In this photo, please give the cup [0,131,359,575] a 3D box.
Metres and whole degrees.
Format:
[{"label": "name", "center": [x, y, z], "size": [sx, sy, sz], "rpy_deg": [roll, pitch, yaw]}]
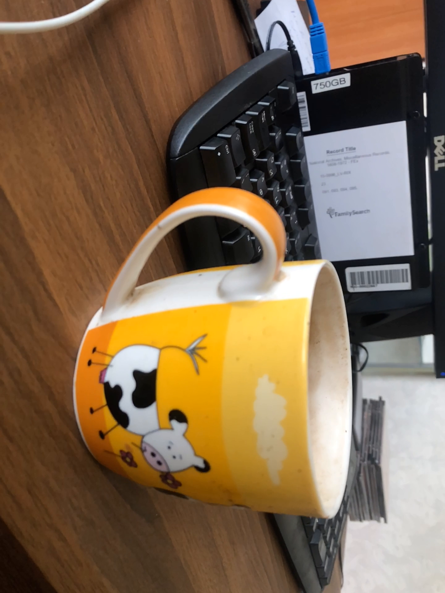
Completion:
[{"label": "cup", "center": [-0.005, 0.021, 0.200], "size": [0.093, 0.095, 0.135], "rpy_deg": [-61, 142, -52]}]
